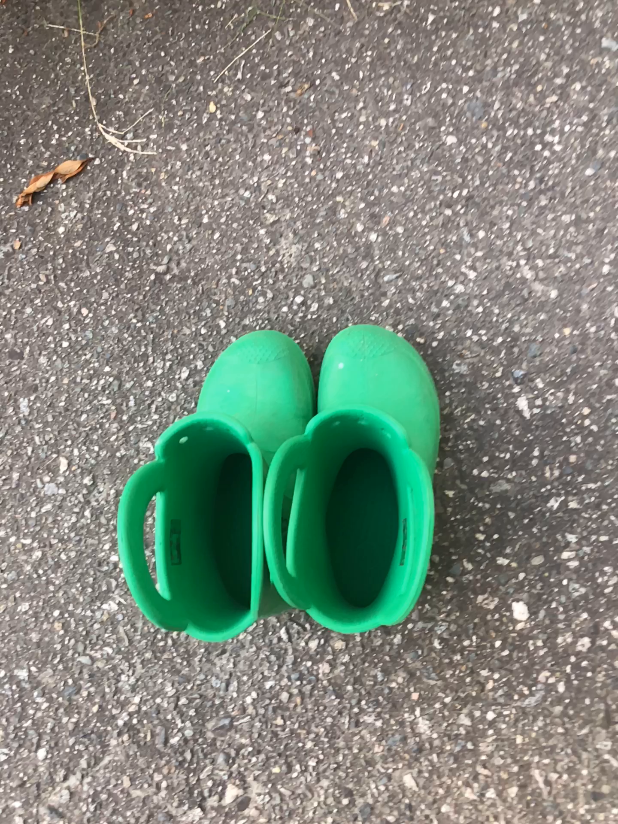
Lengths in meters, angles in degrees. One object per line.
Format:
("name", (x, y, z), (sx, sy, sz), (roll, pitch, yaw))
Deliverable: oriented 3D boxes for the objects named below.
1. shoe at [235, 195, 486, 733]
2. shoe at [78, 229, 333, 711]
("shoe", (0.038, 0.035, 0.463), (0.110, 0.260, 0.260), (-3, 84, 7))
("shoe", (-0.055, 0.039, 0.473), (0.110, 0.230, 0.250), (-3, 84, 7))
